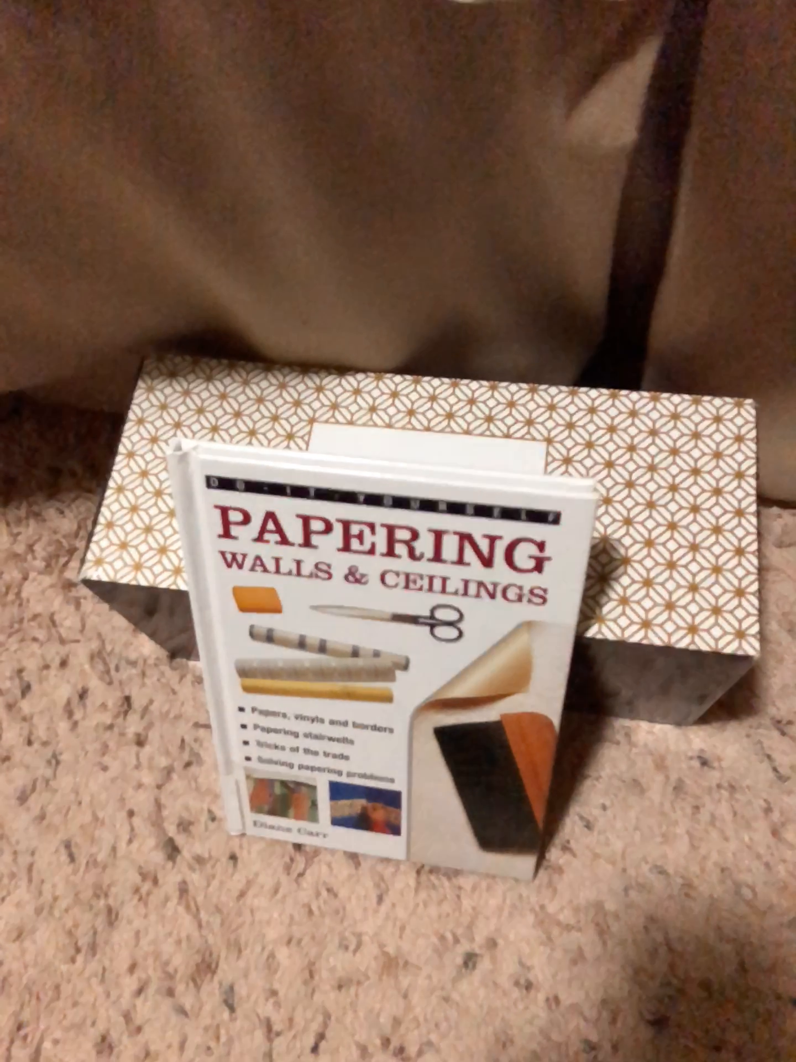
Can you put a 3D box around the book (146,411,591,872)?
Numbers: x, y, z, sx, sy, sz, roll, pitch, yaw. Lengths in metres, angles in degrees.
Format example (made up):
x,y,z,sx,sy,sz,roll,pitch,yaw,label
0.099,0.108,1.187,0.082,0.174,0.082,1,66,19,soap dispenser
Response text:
x,y,z,sx,sy,sz,roll,pitch,yaw,label
-0.011,0.055,0.344,0.143,0.207,0.015,6,37,8,book
